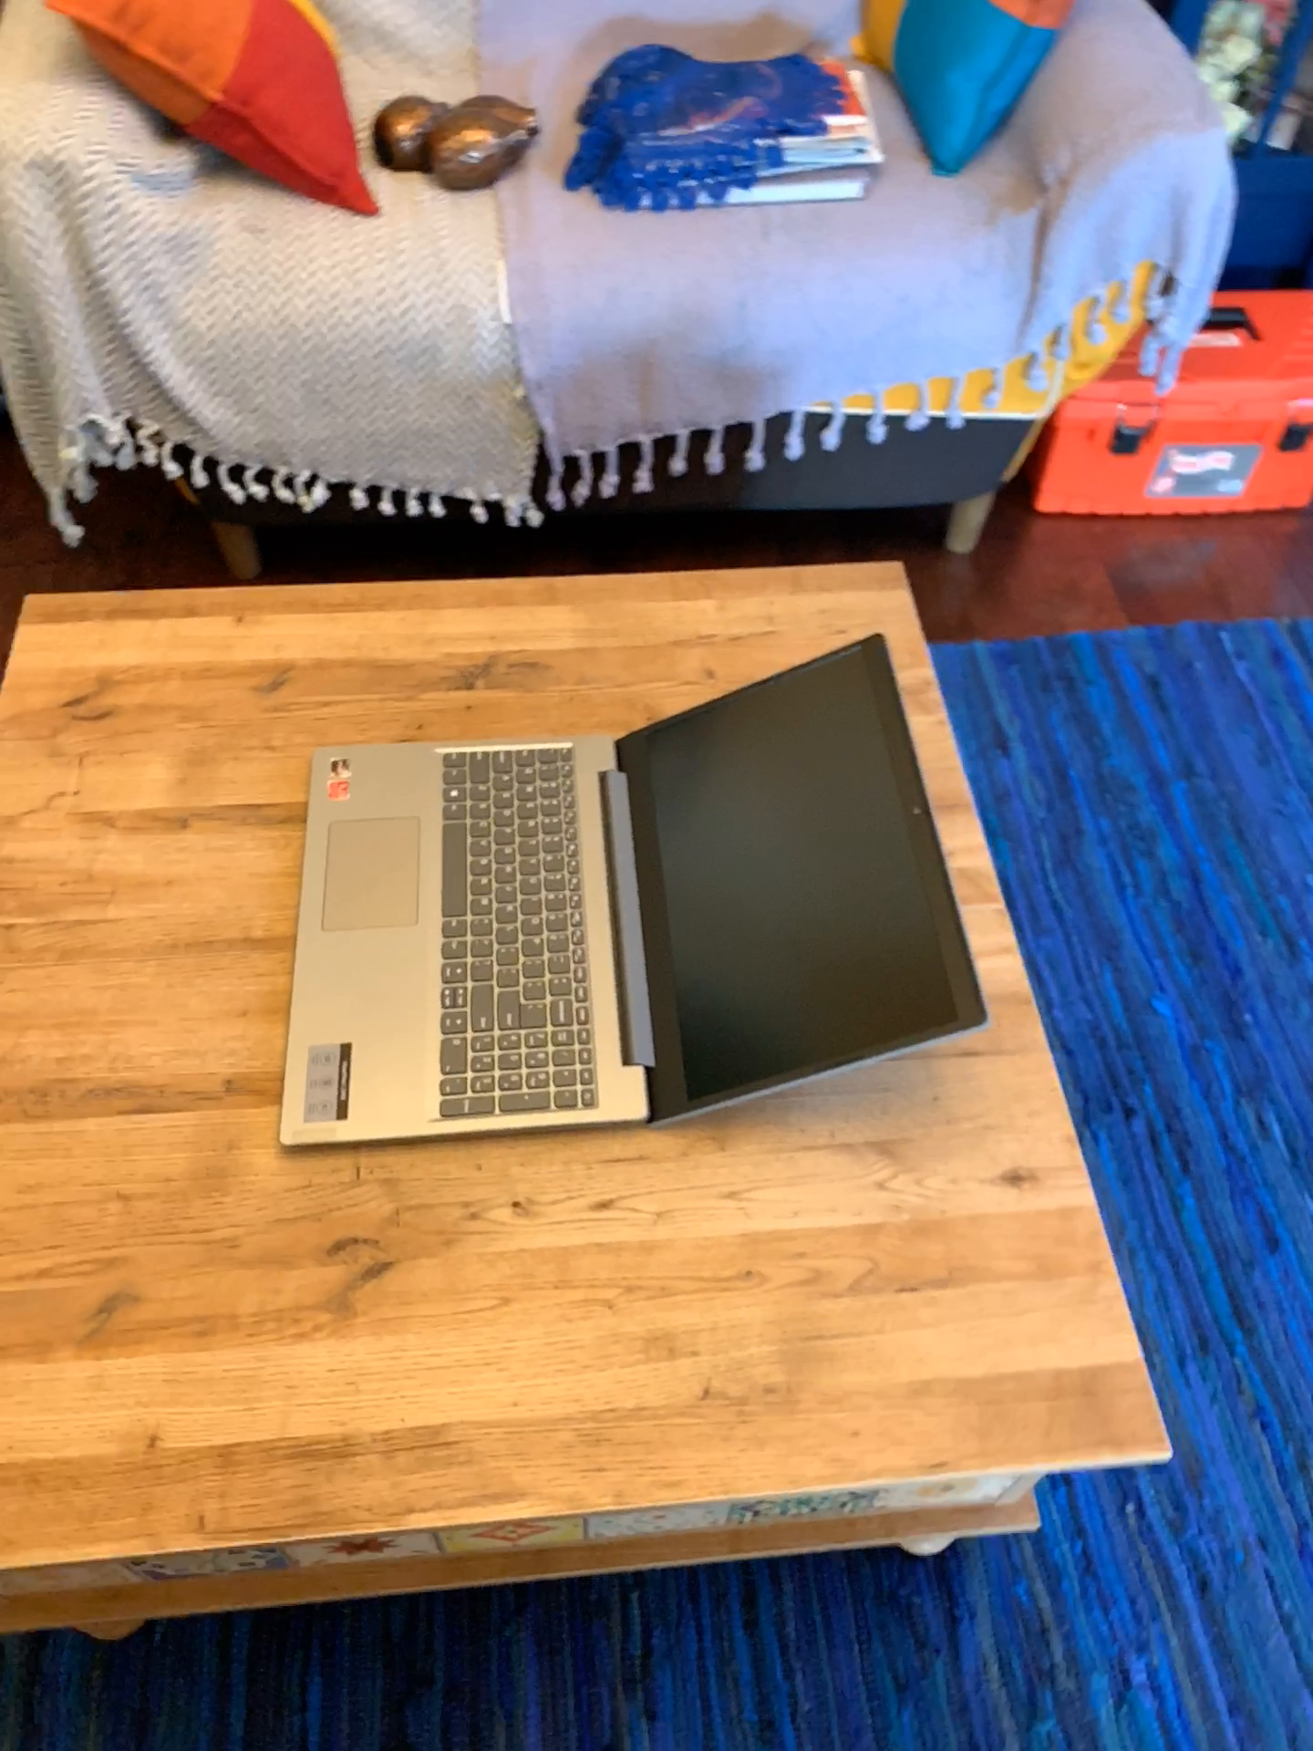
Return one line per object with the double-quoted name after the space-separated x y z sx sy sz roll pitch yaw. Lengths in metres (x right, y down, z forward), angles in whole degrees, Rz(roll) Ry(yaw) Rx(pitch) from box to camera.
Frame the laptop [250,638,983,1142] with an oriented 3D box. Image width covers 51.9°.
-0.040 -0.002 0.989 0.460 0.099 0.347 -4 53 -2 "laptop"
